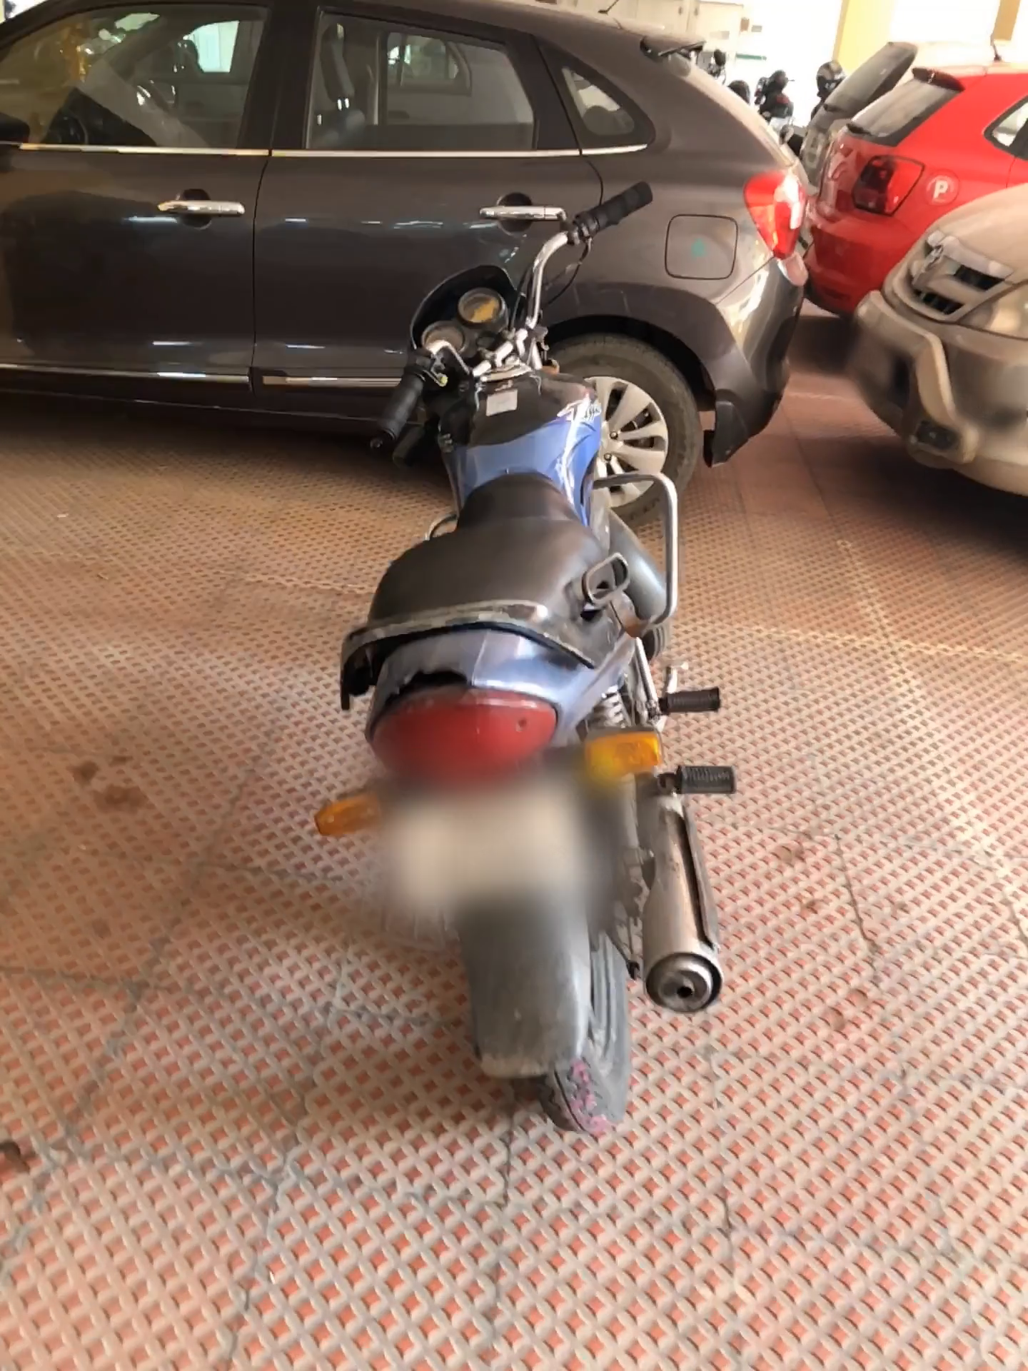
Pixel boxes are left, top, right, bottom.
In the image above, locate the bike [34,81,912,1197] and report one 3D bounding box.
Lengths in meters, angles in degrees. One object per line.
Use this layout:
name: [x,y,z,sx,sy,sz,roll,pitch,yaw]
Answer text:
bike: [-0.158,-0.286,1.908,0.733,1.073,1.697,1,33,-7]
